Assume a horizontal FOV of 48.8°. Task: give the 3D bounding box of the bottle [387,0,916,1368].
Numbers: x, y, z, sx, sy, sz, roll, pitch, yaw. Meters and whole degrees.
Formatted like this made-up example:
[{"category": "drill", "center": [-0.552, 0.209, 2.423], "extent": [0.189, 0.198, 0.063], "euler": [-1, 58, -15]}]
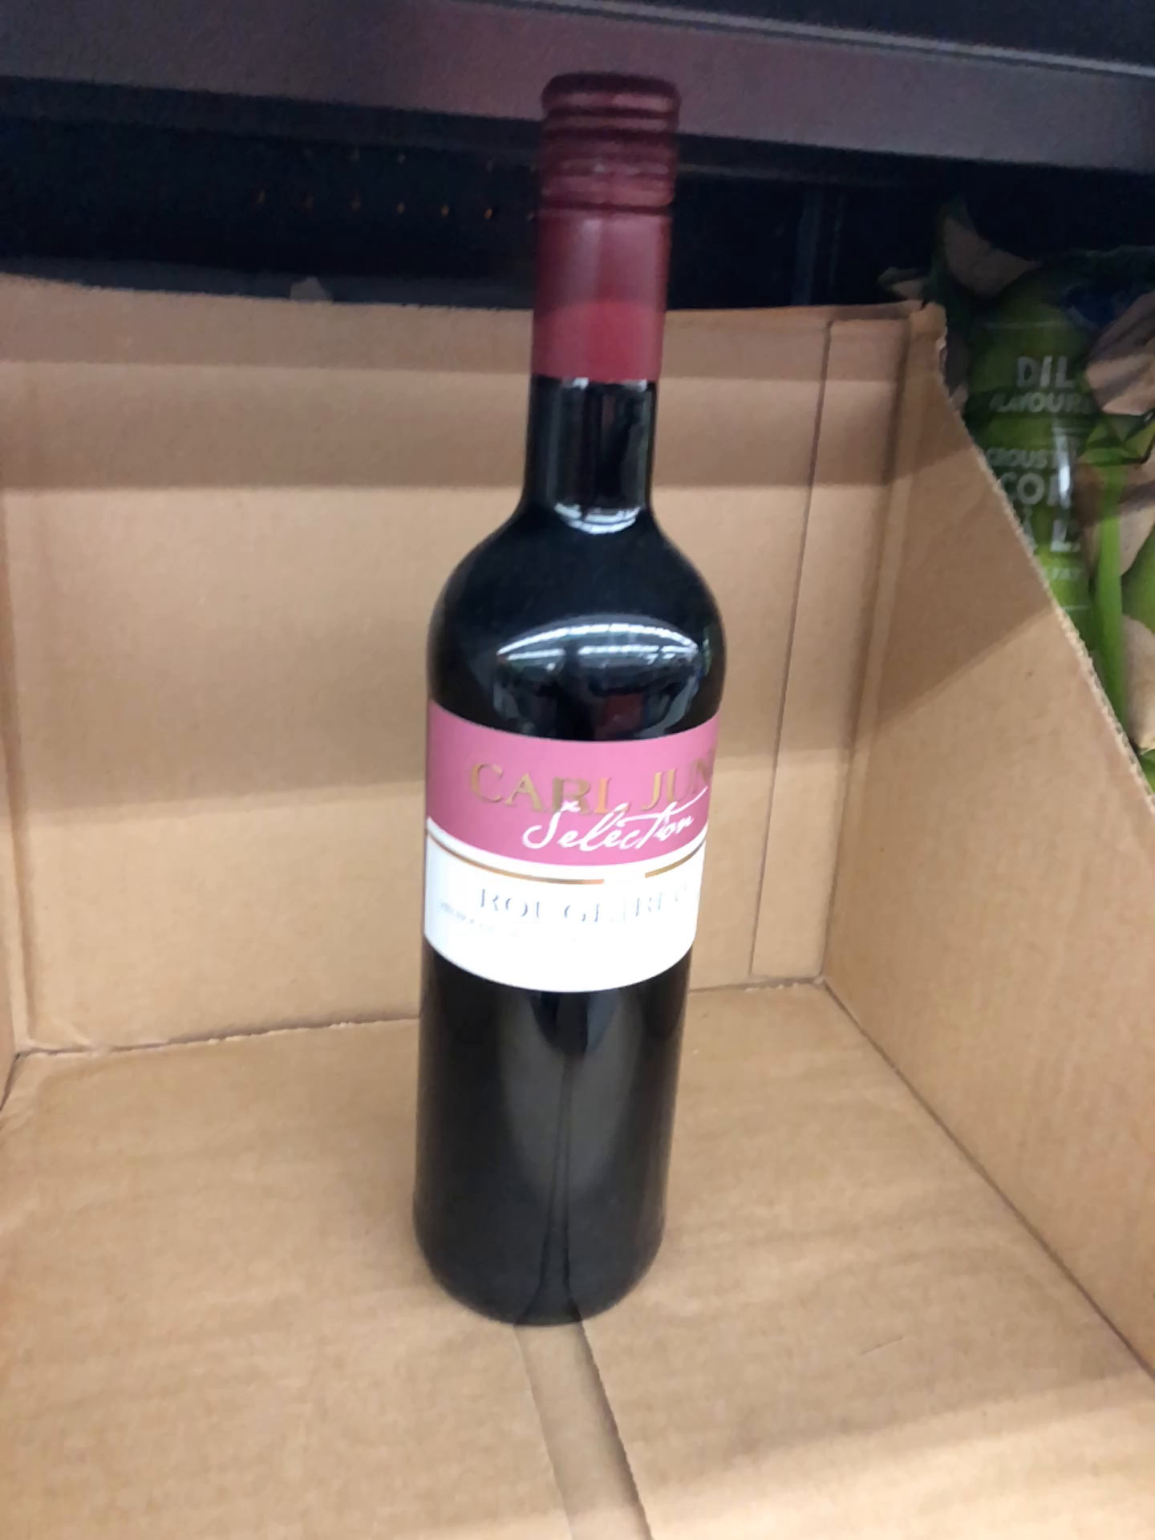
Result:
[{"category": "bottle", "center": [0.001, -0.004, 0.317], "extent": [0.090, 0.308, 0.081], "euler": [-1, 23, -11]}]
